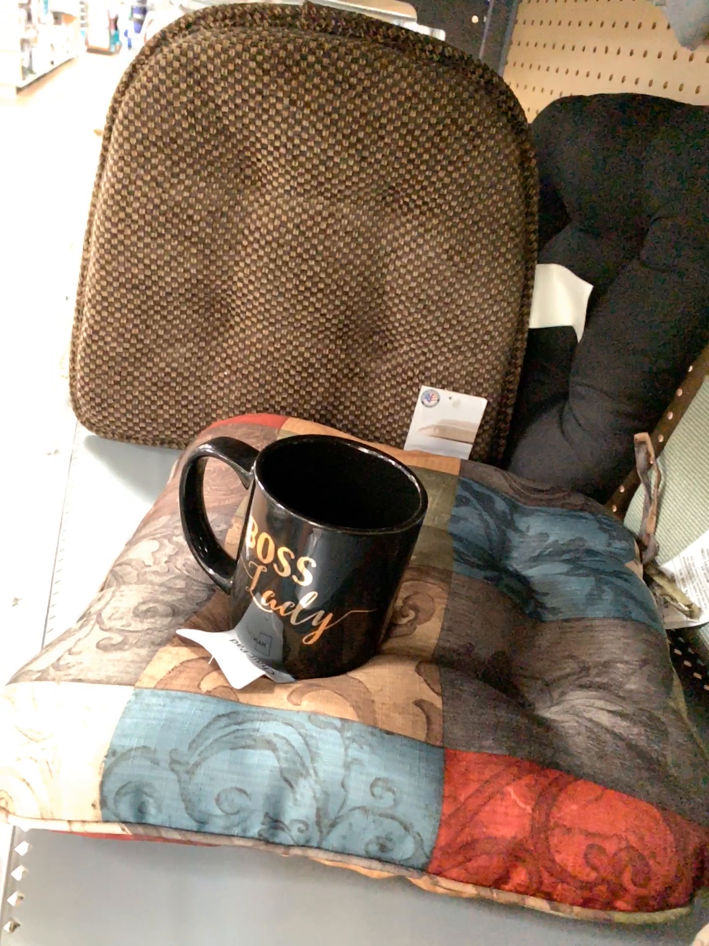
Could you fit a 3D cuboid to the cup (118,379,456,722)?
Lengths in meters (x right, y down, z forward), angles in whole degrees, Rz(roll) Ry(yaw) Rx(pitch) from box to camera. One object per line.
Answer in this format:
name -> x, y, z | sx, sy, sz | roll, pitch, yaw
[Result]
cup -> -0.035, 0.035, 0.394 | 0.130, 0.099, 0.100 | 28, 33, 10
